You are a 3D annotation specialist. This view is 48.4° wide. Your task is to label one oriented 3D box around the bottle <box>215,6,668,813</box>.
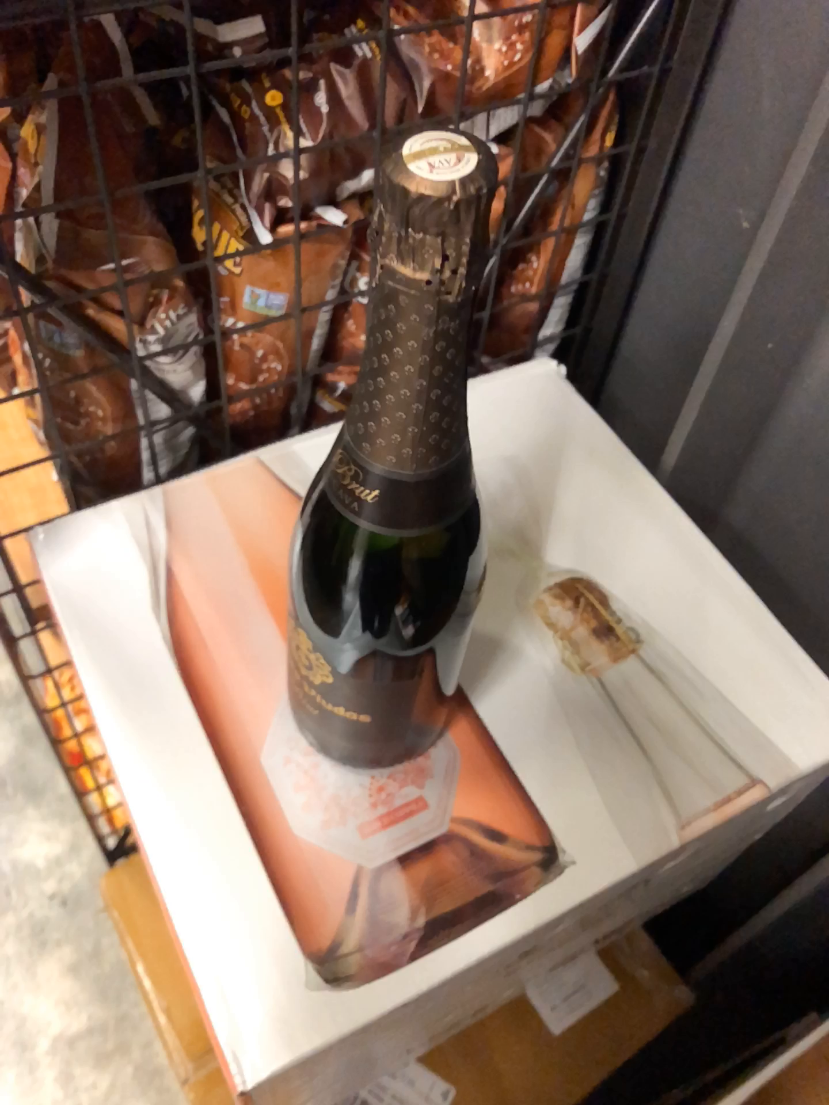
[{"bbox_3d":[-0.009,-0.020,0.372,0.084,0.326,0.090,3,51,-4],"label":"bottle"}]
